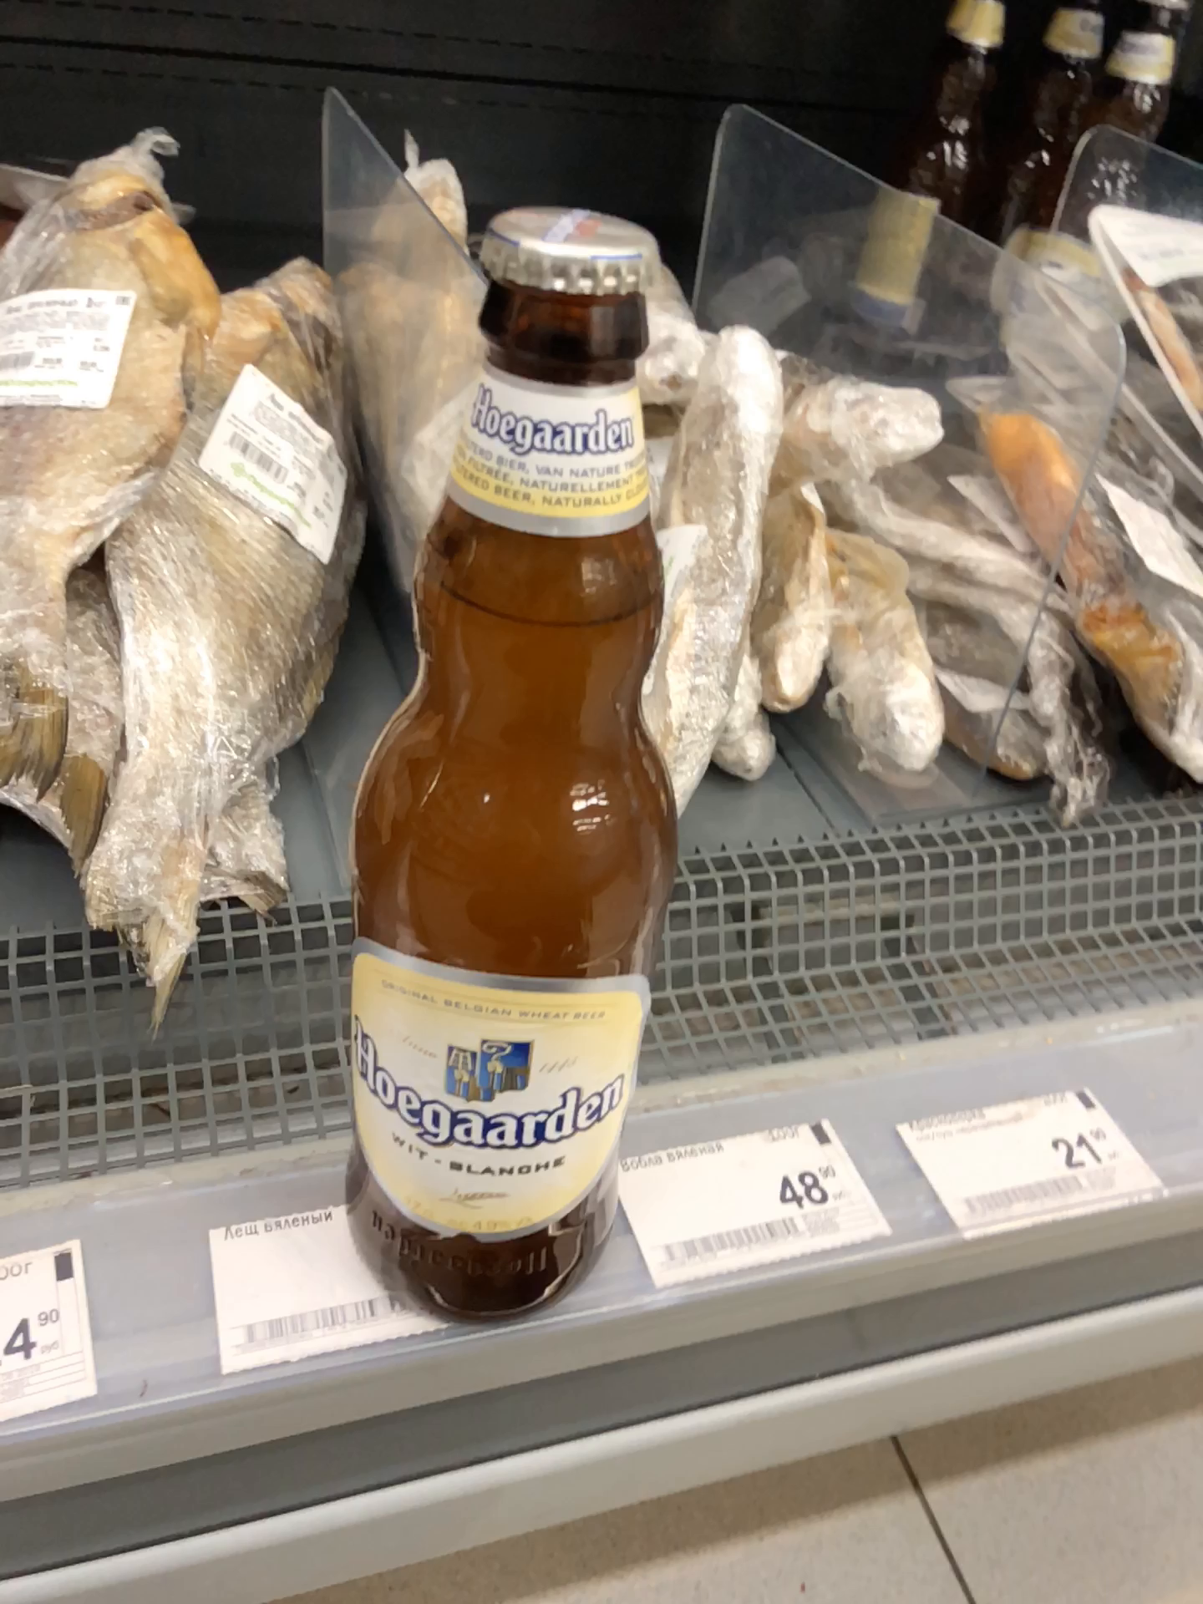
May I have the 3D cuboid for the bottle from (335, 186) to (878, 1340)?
[{"bbox_3d":[-0.013,0.010,0.269,0.070,0.229,0.070,6,36,-4],"label":"bottle"}]
